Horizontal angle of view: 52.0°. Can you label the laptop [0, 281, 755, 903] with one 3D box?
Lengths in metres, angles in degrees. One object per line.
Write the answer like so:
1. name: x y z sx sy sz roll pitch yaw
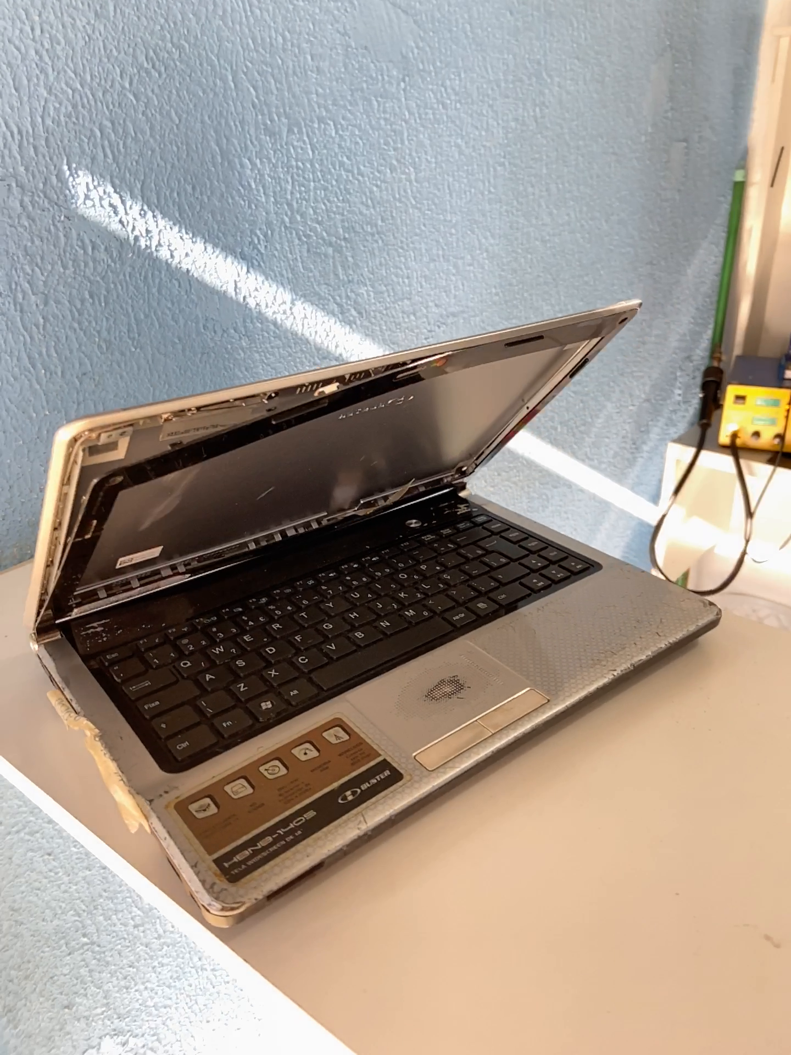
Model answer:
1. laptop: -0.012 -0.019 0.442 0.327 0.160 0.232 -19 31 -33
